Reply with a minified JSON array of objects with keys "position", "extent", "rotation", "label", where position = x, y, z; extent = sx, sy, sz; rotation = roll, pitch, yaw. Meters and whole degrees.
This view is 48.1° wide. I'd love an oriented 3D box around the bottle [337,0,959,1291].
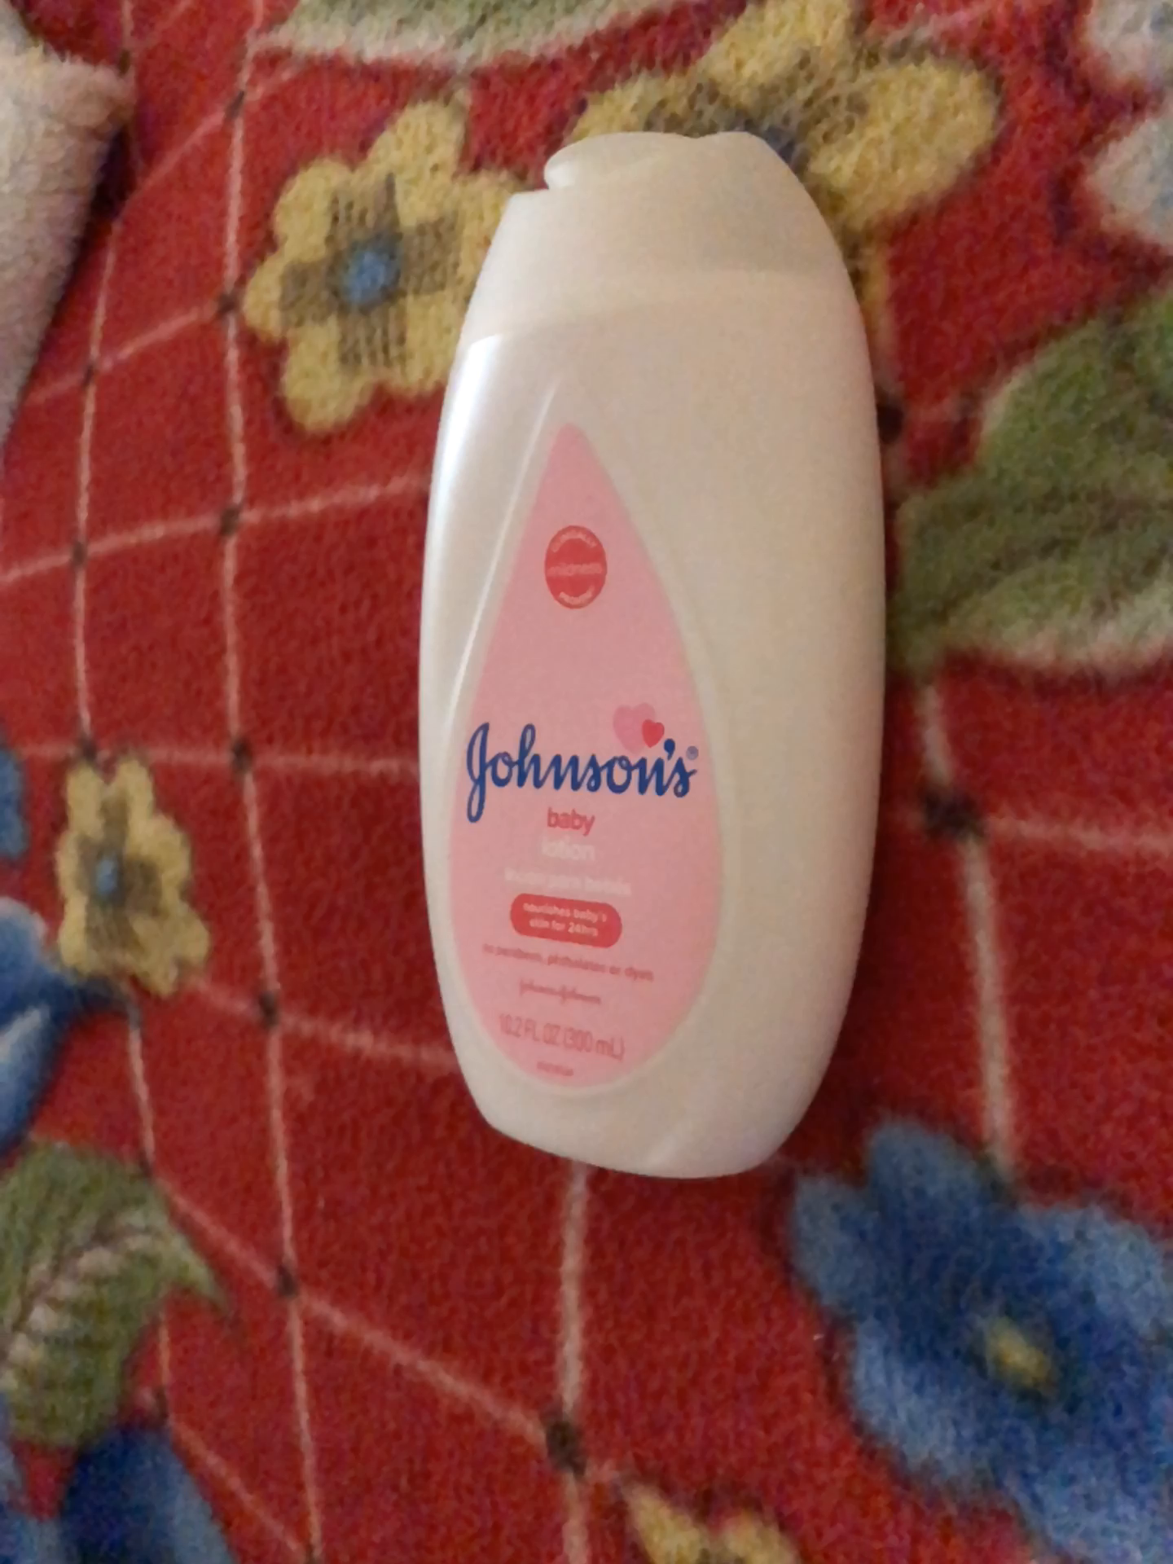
[{"position":[0.006,-0.020,0.209],"extent":[0.080,0.030,0.170],"rotation":[5,88,42],"label":"bottle"}]
